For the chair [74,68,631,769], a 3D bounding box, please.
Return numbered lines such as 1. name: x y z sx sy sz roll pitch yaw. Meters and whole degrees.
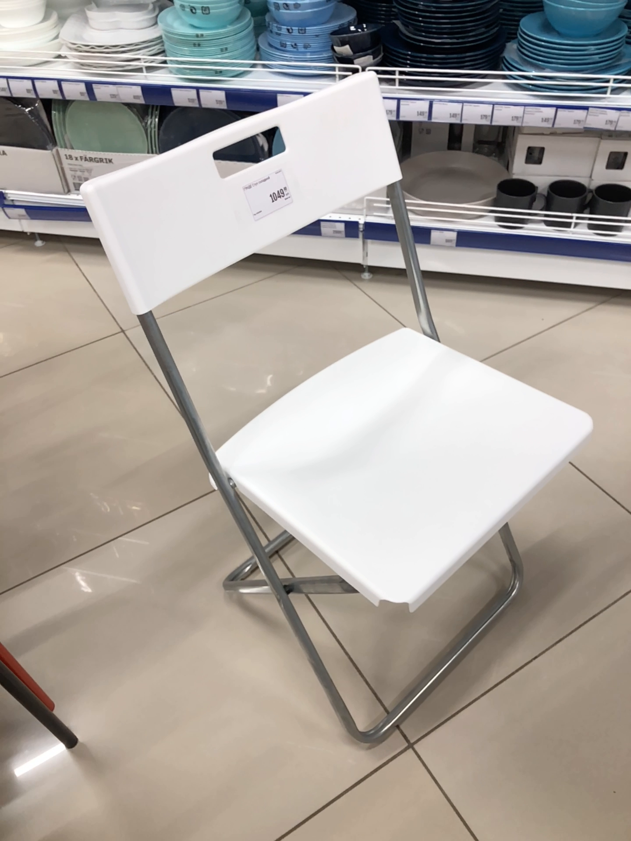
1. chair: 0.077 0.015 0.919 0.427 0.711 0.431 -35 53 -28
